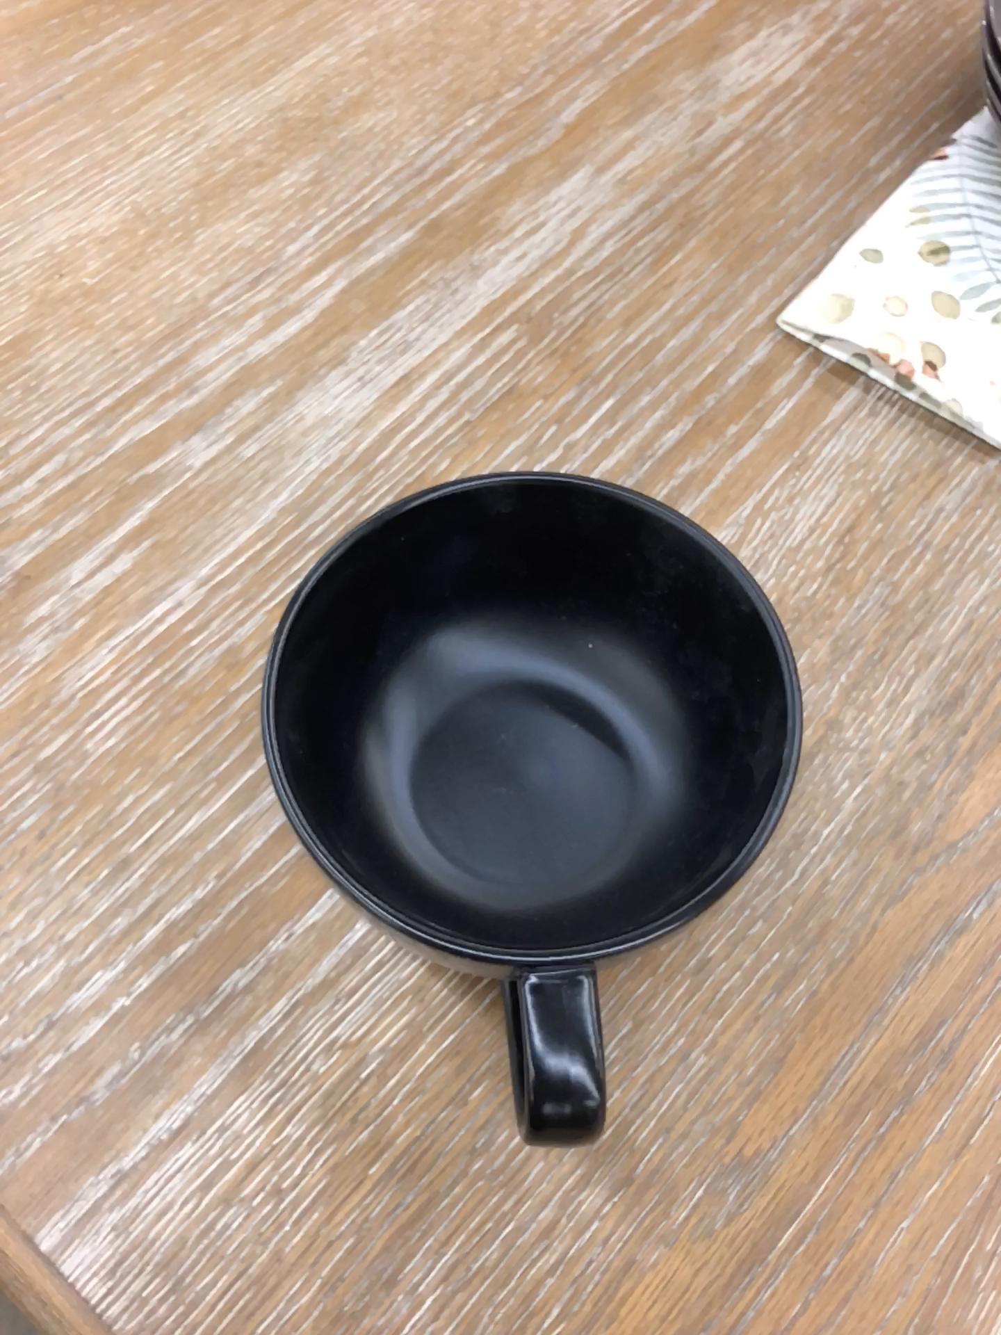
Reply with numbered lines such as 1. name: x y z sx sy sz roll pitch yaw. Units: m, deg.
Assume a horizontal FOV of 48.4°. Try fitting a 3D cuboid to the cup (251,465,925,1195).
1. cup: 0.012 0.035 0.292 0.137 0.054 0.175 -3 60 -3
